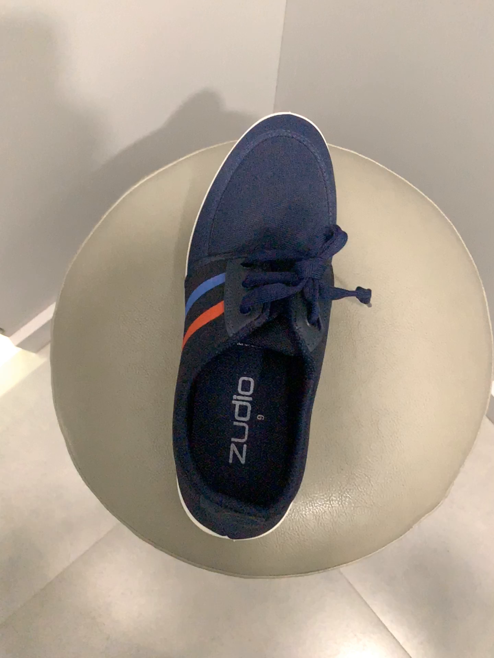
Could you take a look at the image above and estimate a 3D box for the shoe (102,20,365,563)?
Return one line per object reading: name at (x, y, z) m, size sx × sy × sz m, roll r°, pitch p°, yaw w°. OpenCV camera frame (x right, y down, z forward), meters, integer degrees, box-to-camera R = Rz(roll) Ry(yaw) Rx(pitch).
shoe at (-0.001, -0.026, 0.323) m, size 0.100 × 0.100 × 0.290 m, roll 8°, pitch 80°, yaw 1°
